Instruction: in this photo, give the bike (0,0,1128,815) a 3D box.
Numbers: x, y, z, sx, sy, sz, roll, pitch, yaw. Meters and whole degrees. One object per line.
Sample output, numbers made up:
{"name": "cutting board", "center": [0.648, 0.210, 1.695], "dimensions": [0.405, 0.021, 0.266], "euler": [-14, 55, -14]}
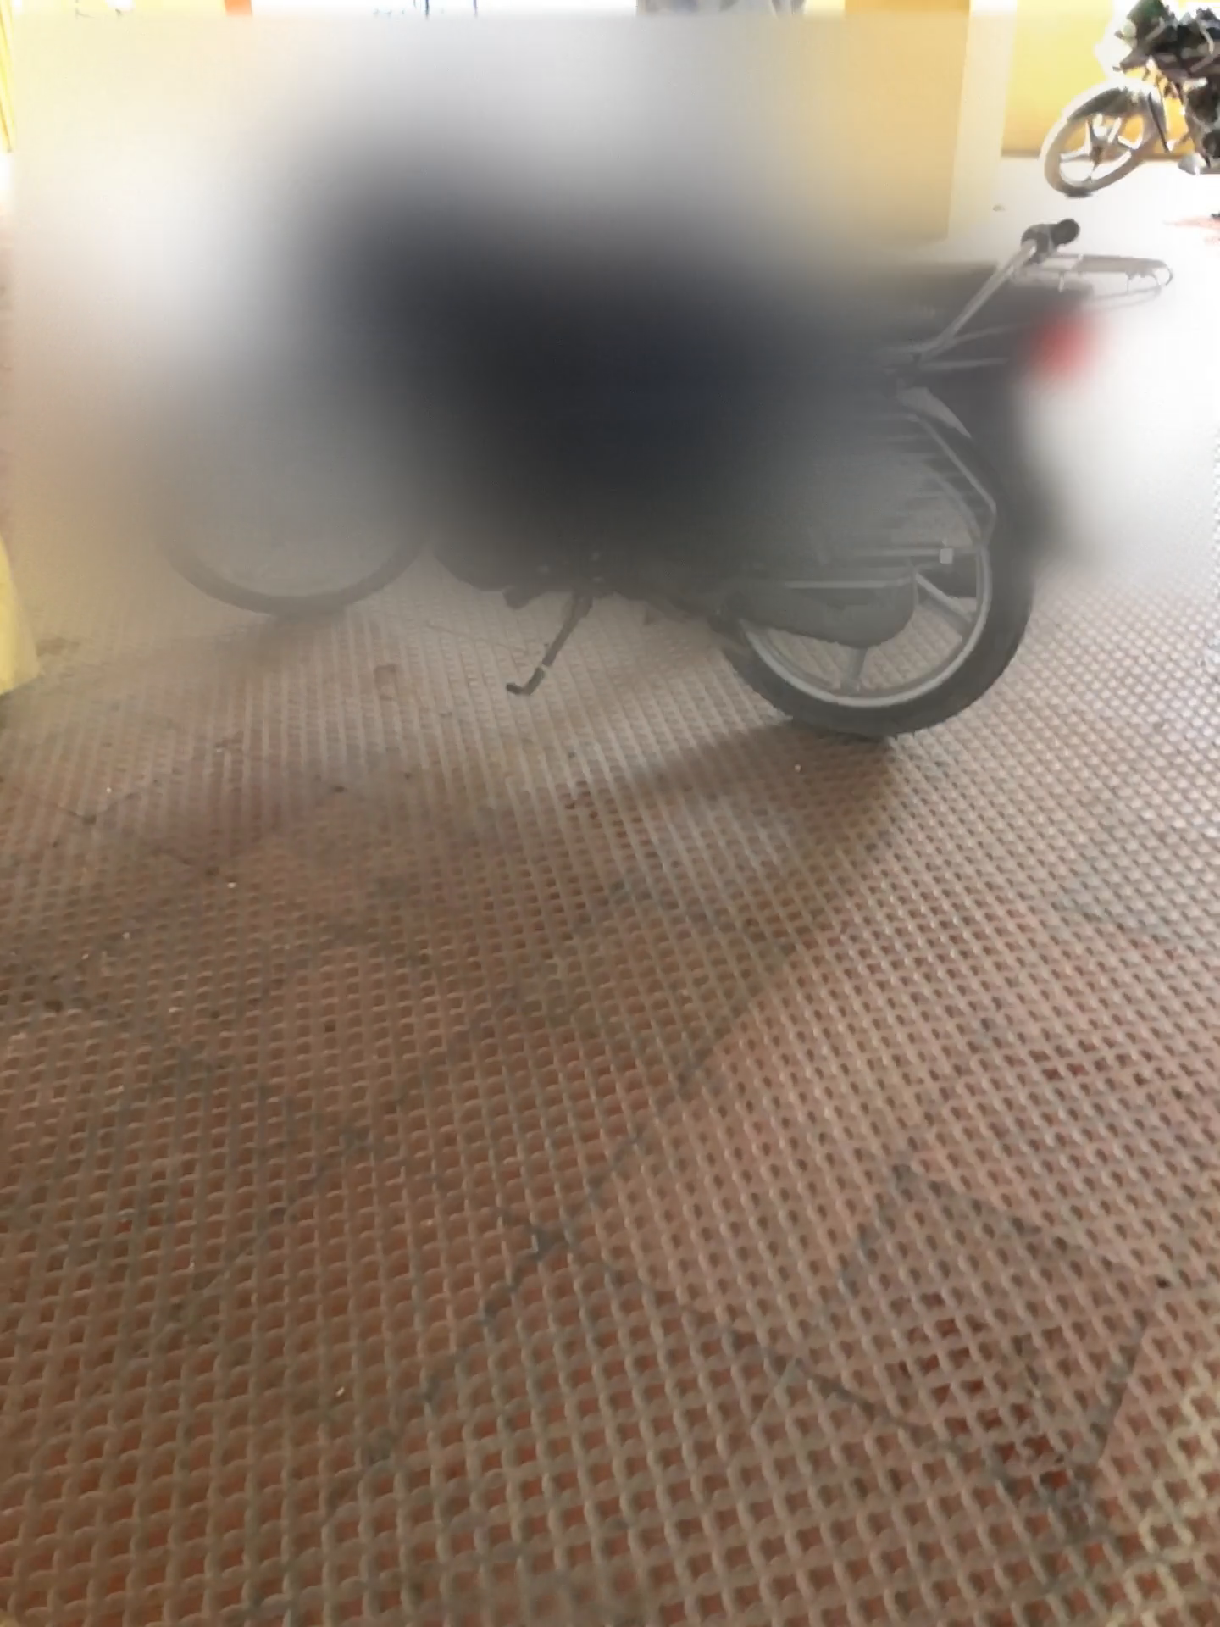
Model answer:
{"name": "bike", "center": [-0.055, -0.812, 2.438], "dimensions": [1.705, 1.107, 0.688], "euler": [11, 36, 16]}
